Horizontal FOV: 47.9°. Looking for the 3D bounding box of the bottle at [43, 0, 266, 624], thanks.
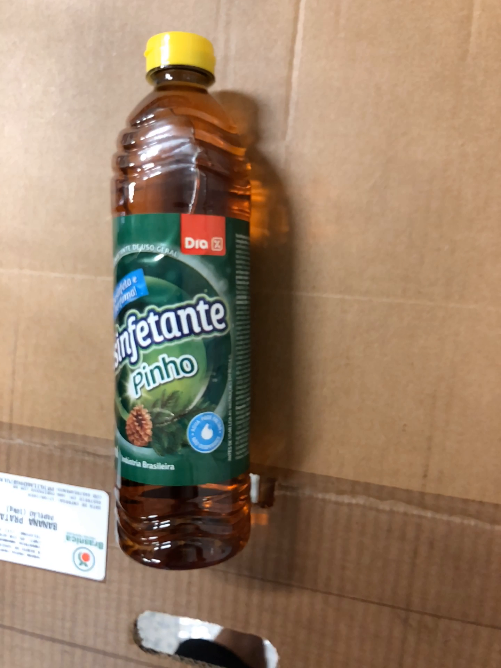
[{"bbox_3d":[-0.037,-0.011,0.237,0.060,0.070,0.220,1,91,27],"label":"bottle"}]
